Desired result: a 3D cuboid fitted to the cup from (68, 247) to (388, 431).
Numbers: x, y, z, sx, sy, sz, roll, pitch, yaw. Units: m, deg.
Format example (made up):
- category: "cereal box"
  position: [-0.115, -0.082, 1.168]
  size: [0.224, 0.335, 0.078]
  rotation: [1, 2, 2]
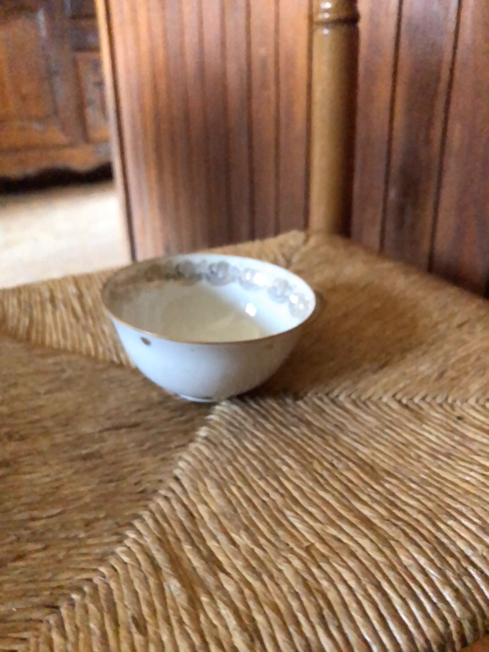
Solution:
- category: "cup"
  position: [-0.018, -0.005, 0.317]
  size: [0.140, 0.040, 0.130]
  rotation: [3, 23, -1]
